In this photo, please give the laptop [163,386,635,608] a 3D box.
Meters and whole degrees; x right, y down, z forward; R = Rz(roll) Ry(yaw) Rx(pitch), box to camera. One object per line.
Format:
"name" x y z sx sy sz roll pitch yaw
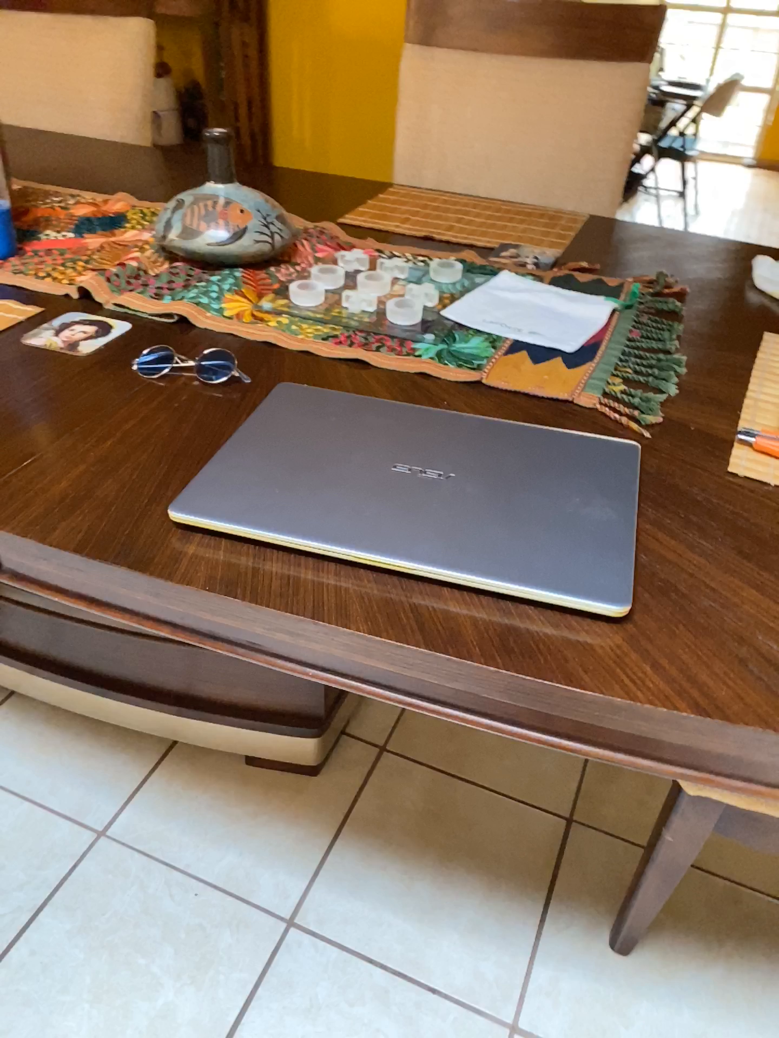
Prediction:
"laptop" 0.027 -0.038 0.737 0.383 0.001 0.247 11 38 11
